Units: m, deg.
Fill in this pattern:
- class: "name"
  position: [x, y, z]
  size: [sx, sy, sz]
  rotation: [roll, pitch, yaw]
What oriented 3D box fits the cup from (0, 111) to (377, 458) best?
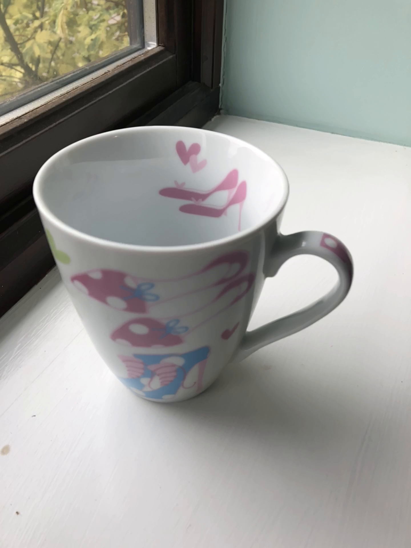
- class: "cup"
  position: [-0.005, -0.005, 0.215]
  size: [0.140, 0.089, 0.111]
  rotation: [11, 39, 11]
